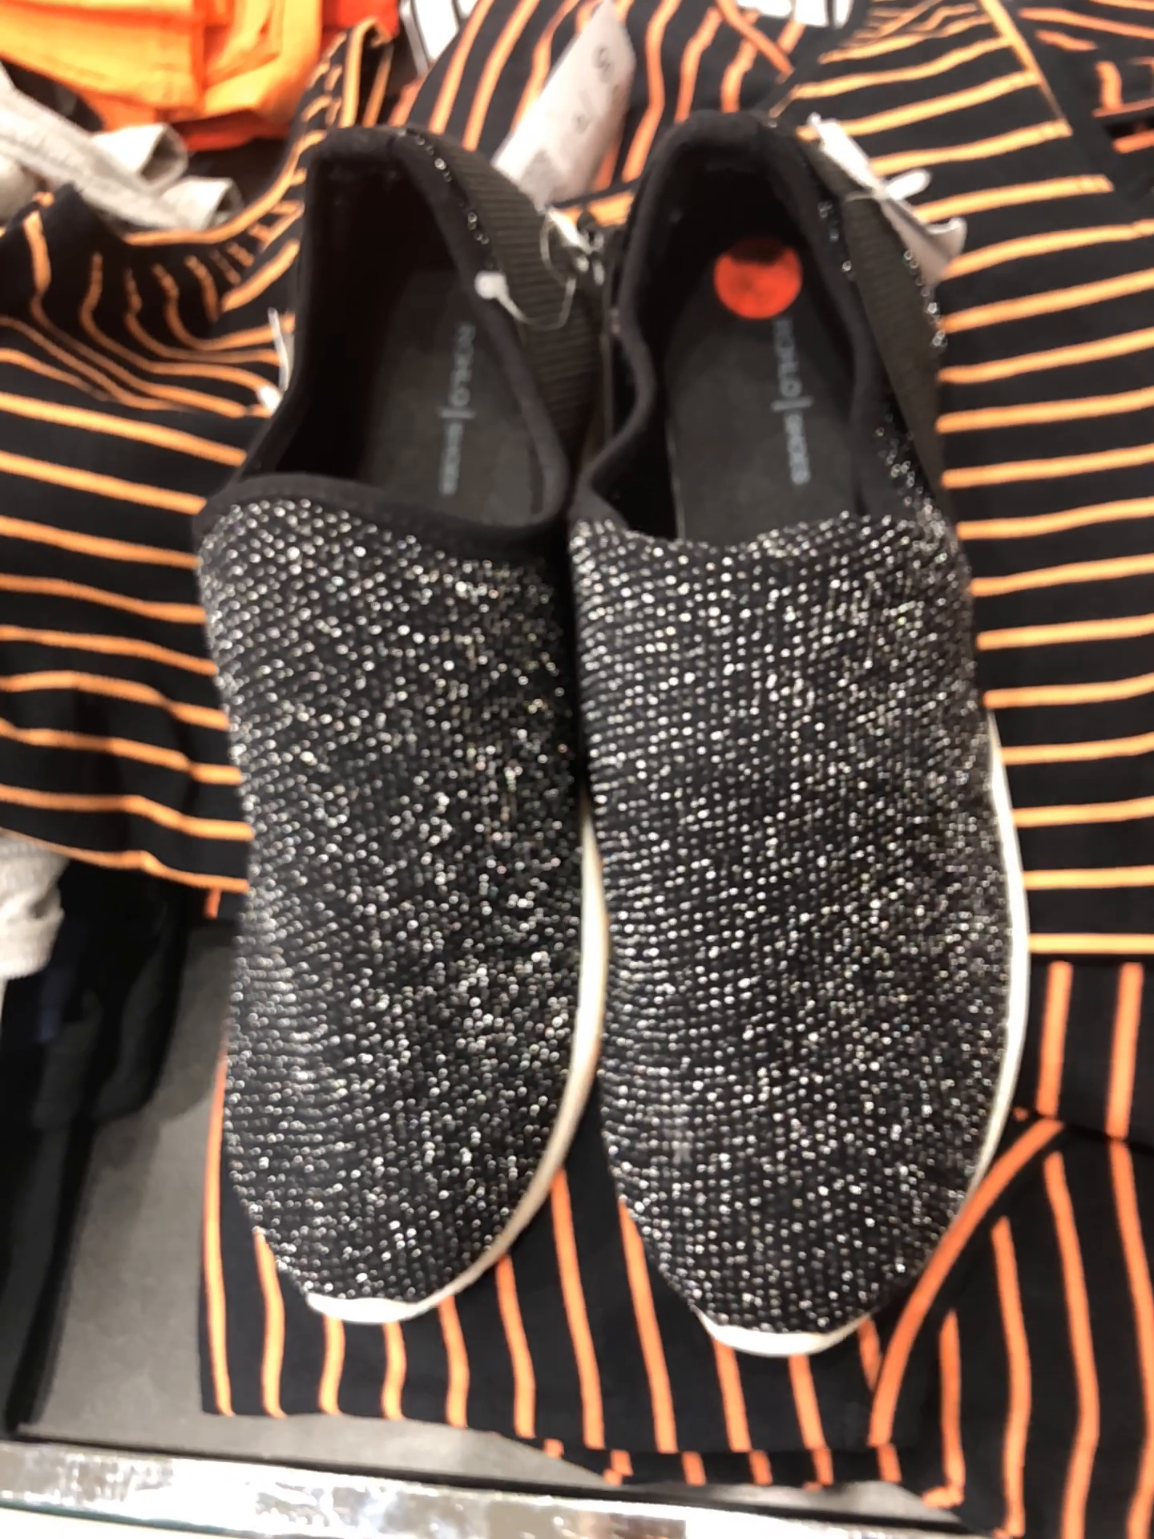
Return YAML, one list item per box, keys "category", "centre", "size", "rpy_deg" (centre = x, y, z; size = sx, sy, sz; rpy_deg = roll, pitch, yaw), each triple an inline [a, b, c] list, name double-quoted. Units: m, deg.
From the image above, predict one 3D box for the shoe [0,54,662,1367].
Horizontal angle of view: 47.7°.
- category: "shoe"
  centre: [-0.041, -0.012, 0.279]
  size: [0.100, 0.110, 0.241]
  rpy_deg: [0, 70, 9]

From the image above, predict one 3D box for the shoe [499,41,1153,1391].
- category: "shoe"
  centre: [0.048, -0.010, 0.272]
  size: [0.100, 0.110, 0.241]
  rpy_deg: [-2, 69, 8]
